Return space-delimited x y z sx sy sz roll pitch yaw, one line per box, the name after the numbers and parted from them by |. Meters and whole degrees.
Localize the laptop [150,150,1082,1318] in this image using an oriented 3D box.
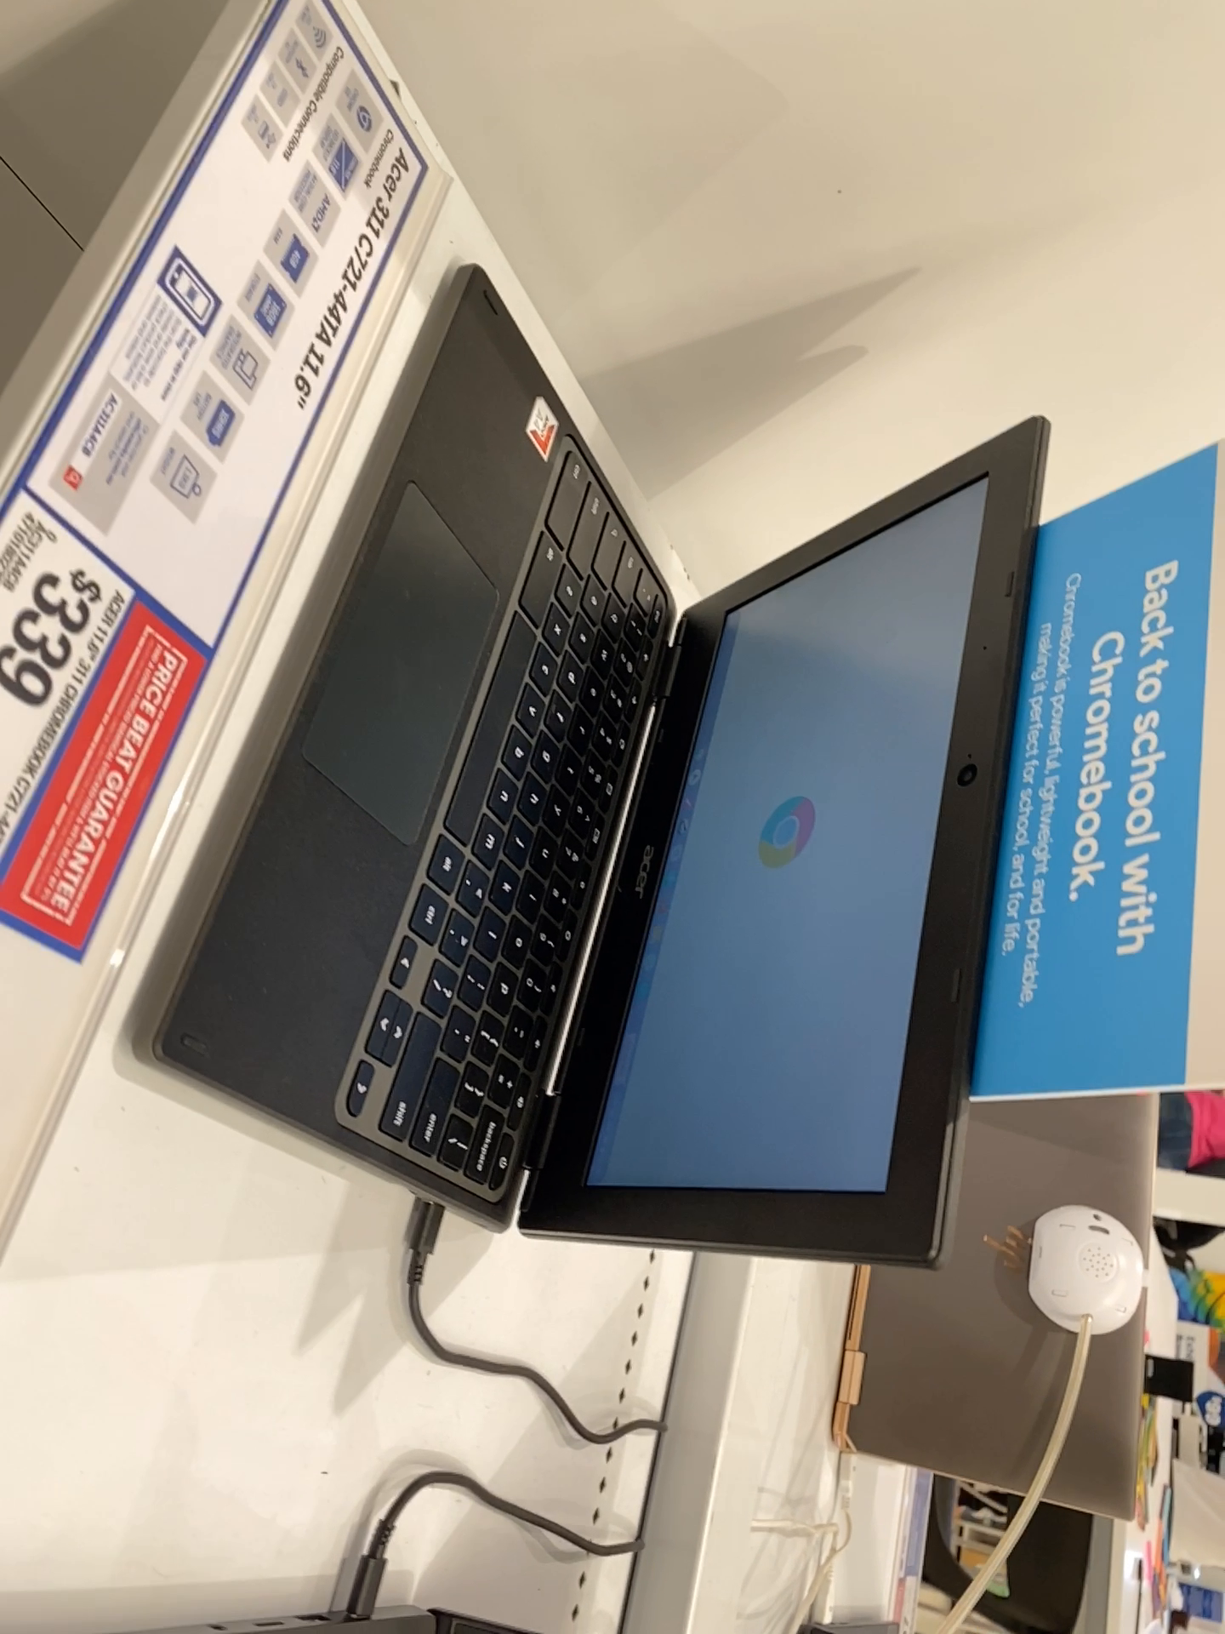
0.037 -0.018 0.419 0.201 0.180 0.289 50 48 -51 | laptop
